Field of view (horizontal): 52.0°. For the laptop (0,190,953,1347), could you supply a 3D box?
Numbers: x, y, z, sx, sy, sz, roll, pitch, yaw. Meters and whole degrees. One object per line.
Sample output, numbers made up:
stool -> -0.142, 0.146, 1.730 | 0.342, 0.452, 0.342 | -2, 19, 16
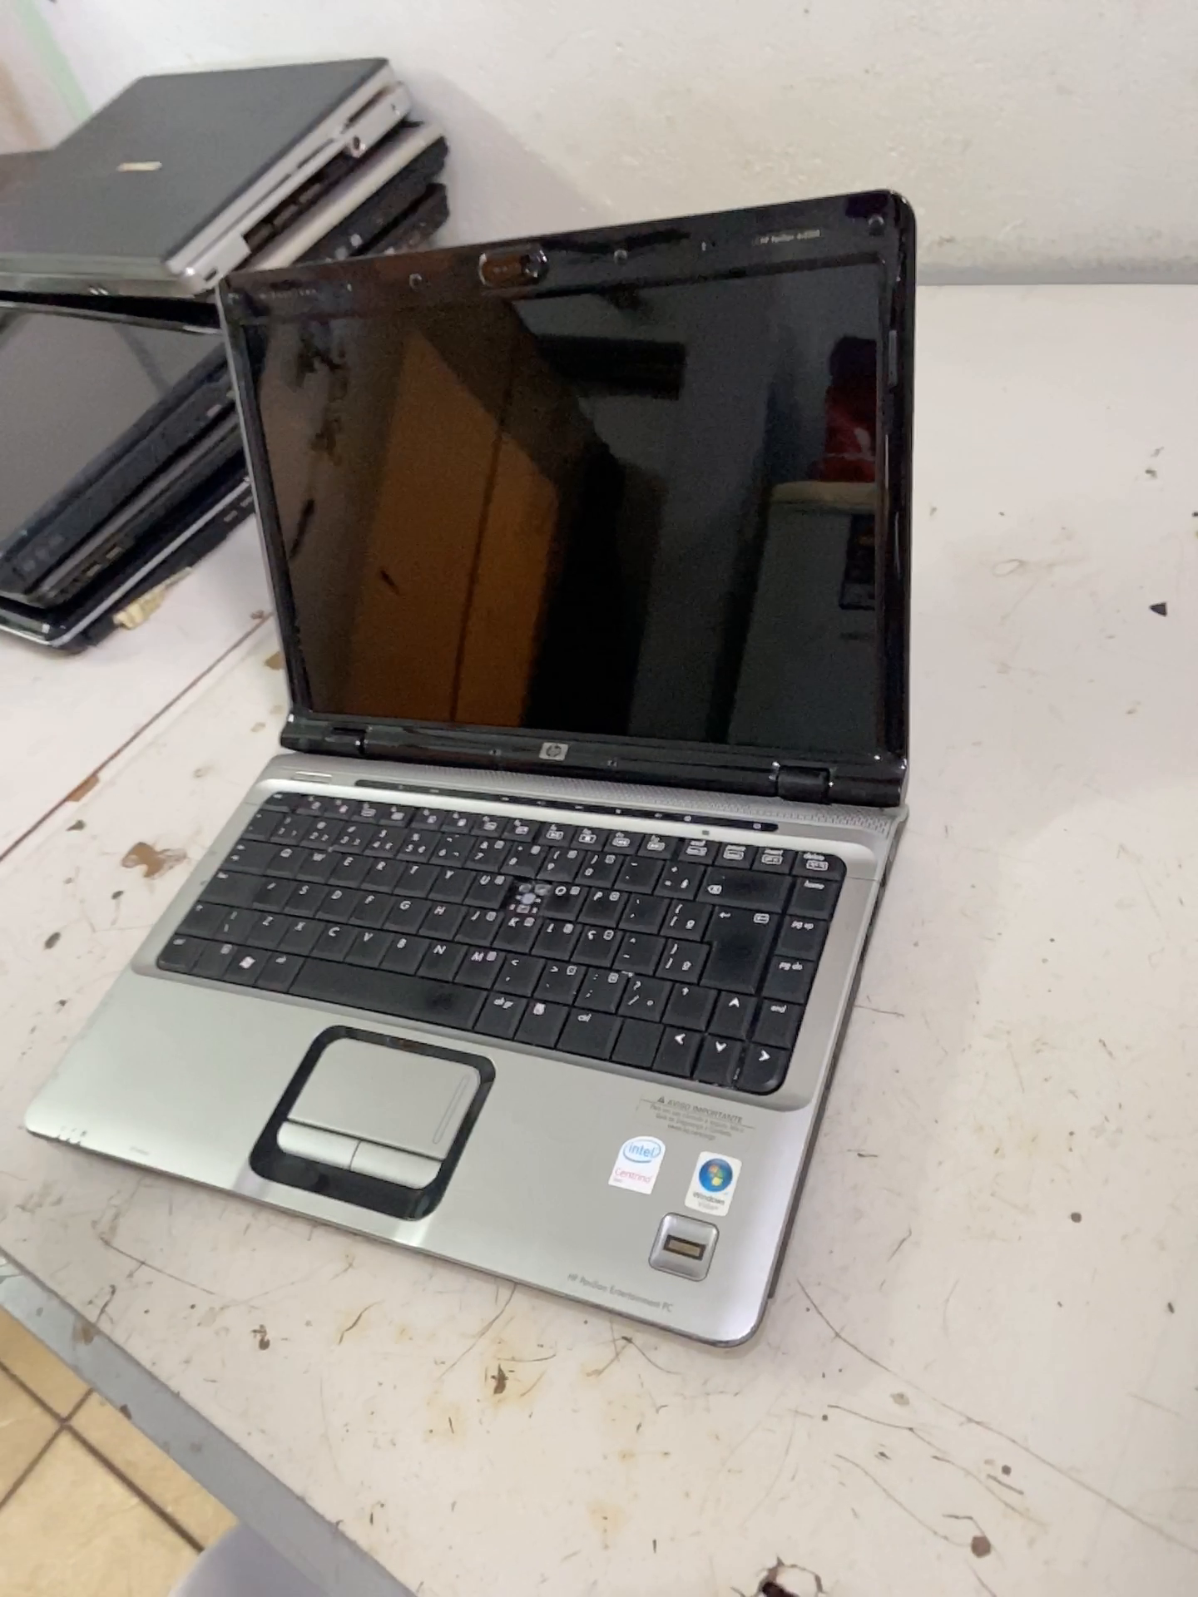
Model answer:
laptop -> -0.065, -0.038, 0.477 | 0.321, 0.193, 0.335 | 6, 51, 27
